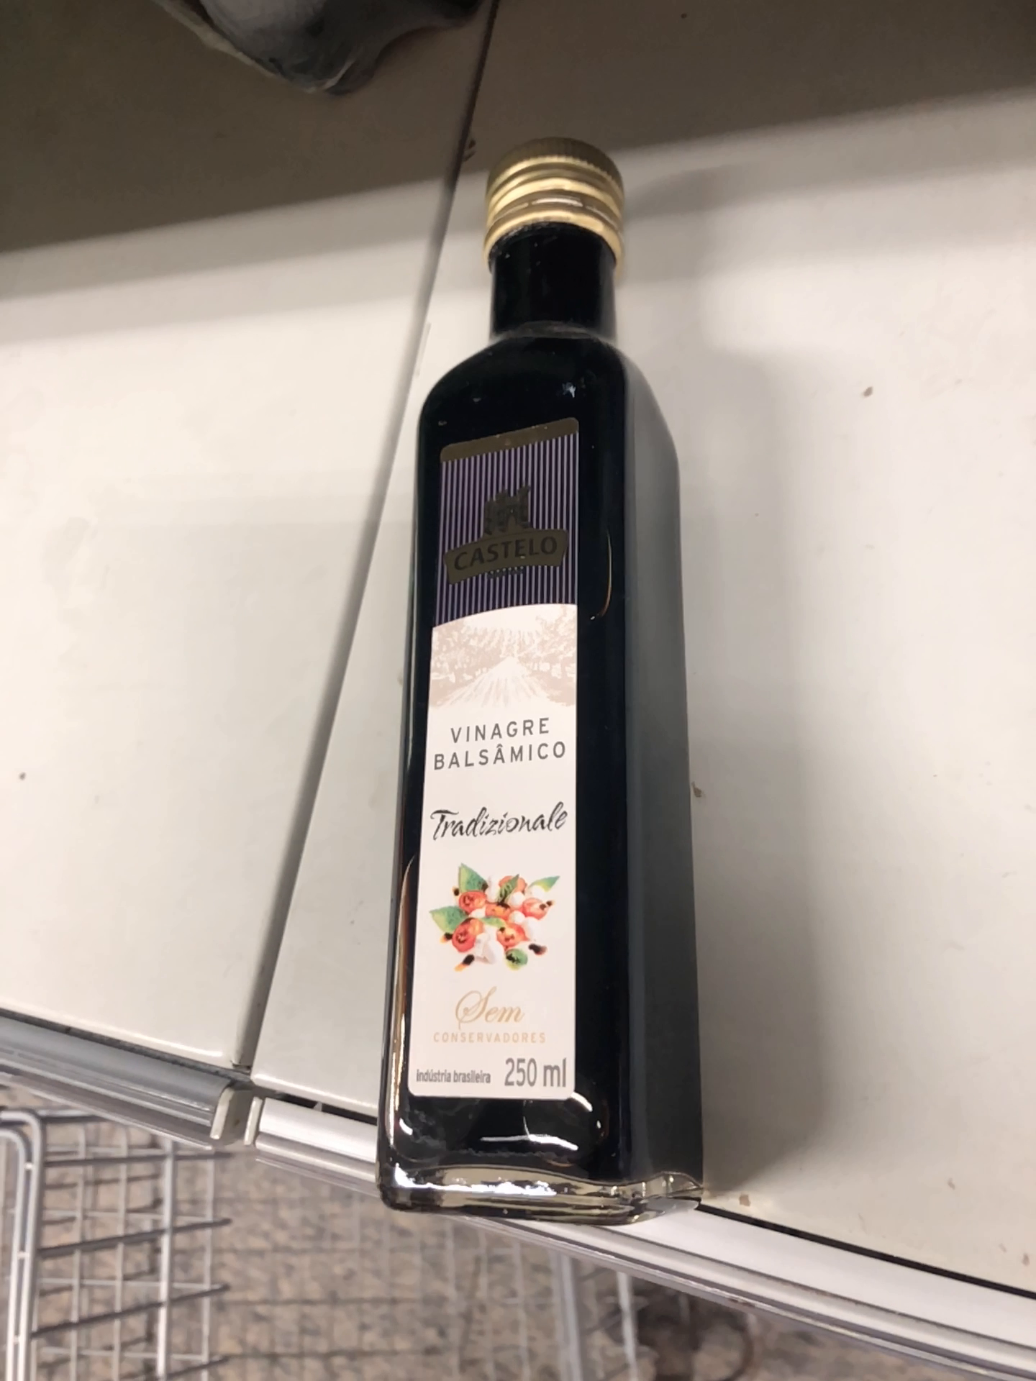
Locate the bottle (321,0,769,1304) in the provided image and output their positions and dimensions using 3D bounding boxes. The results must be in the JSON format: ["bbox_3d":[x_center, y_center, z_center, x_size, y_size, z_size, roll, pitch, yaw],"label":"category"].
[{"bbox_3d":[0.010,-0.022,0.238,0.060,0.060,0.250,-6,72,23],"label":"bottle"}]
